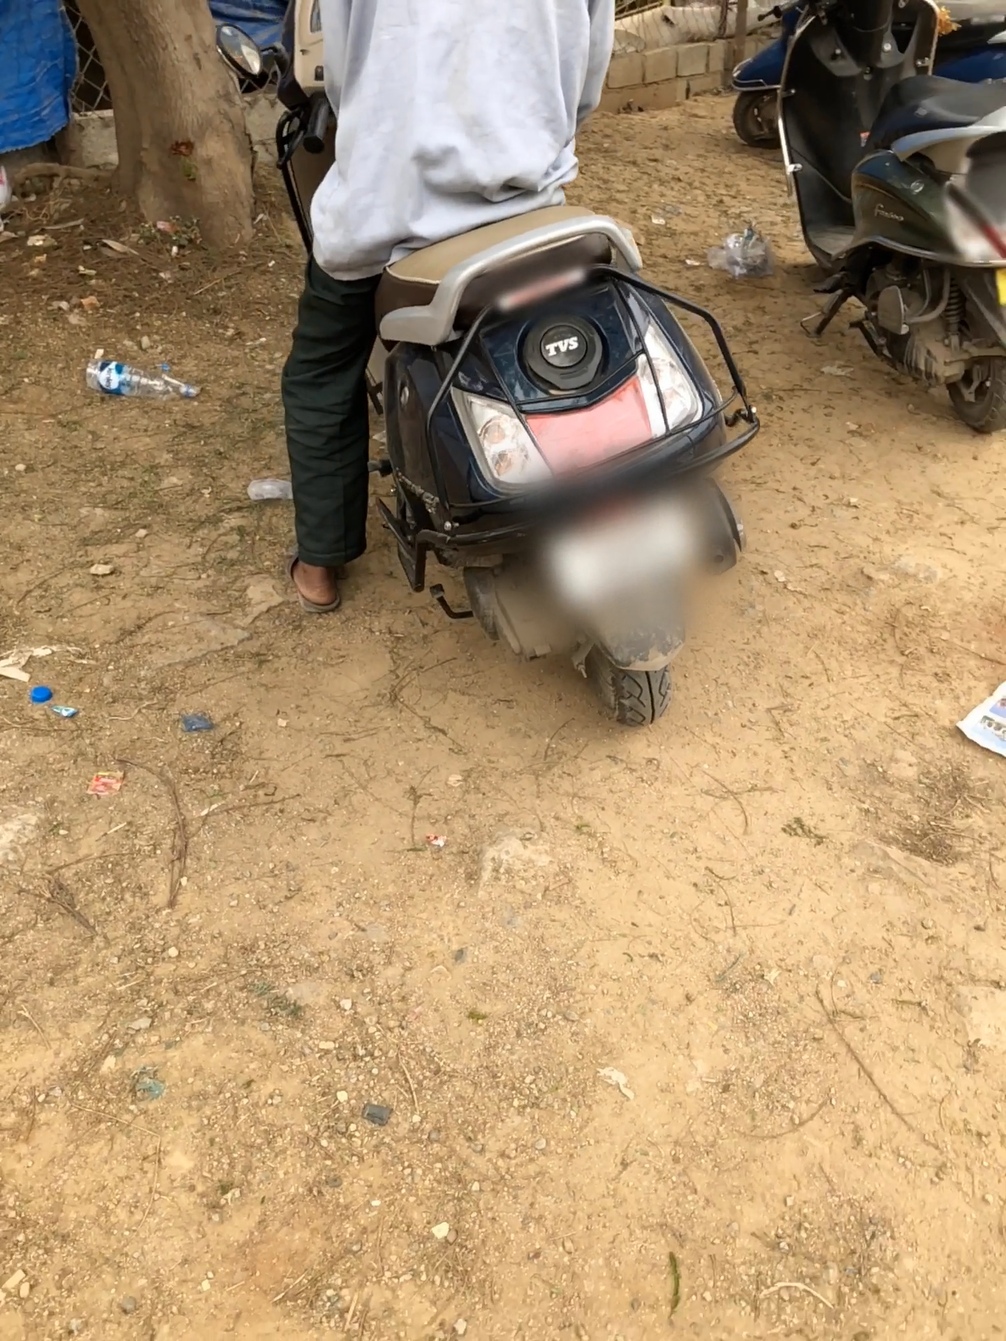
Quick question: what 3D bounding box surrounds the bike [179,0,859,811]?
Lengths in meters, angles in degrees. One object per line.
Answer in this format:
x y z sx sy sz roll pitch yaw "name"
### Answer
-0.097 -0.779 1.906 0.635 1.119 1.348 -8 42 -13 "bike"
